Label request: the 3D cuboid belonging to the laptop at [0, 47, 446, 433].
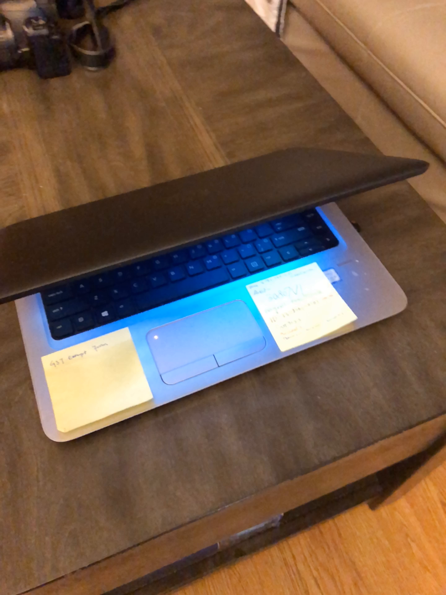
[{"bbox_3d":[-0.021,-0.070,0.424,0.324,0.131,0.226,-18,57,-15],"label":"laptop"}]
